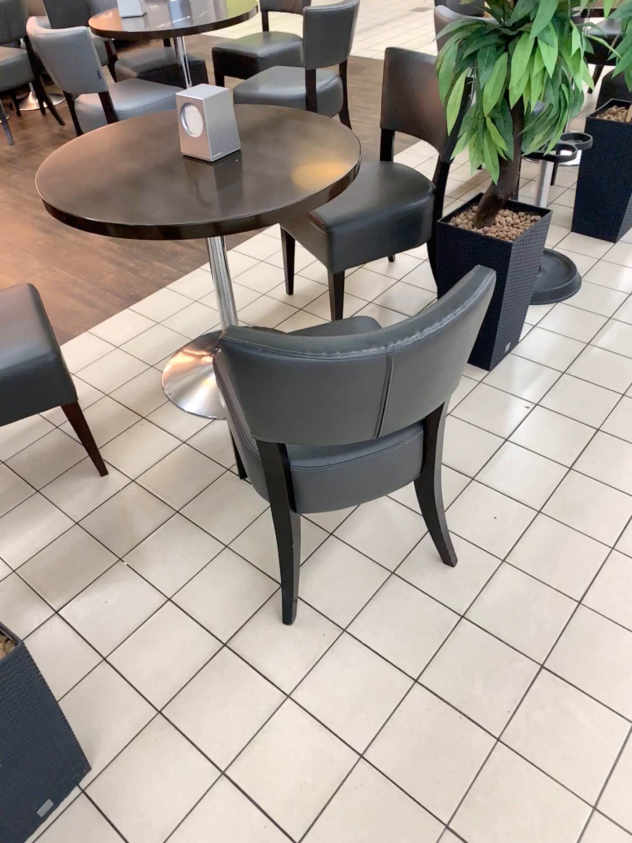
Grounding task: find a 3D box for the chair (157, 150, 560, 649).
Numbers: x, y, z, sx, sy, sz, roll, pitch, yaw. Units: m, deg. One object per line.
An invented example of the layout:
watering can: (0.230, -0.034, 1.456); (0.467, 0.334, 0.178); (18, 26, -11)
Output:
chair: (0.049, -0.059, 1.459); (0.550, 0.796, 0.643); (-15, 42, -11)
